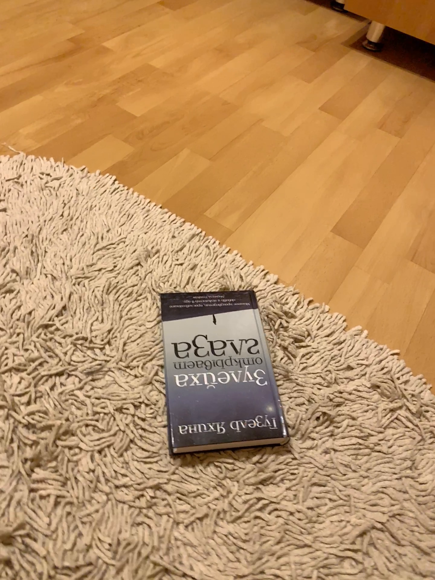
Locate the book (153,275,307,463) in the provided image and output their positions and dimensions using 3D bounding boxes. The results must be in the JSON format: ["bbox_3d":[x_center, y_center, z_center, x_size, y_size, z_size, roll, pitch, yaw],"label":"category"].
[{"bbox_3d":[0.003,0.083,0.541,0.150,0.040,0.222,-3,53,-10],"label":"book"}]
